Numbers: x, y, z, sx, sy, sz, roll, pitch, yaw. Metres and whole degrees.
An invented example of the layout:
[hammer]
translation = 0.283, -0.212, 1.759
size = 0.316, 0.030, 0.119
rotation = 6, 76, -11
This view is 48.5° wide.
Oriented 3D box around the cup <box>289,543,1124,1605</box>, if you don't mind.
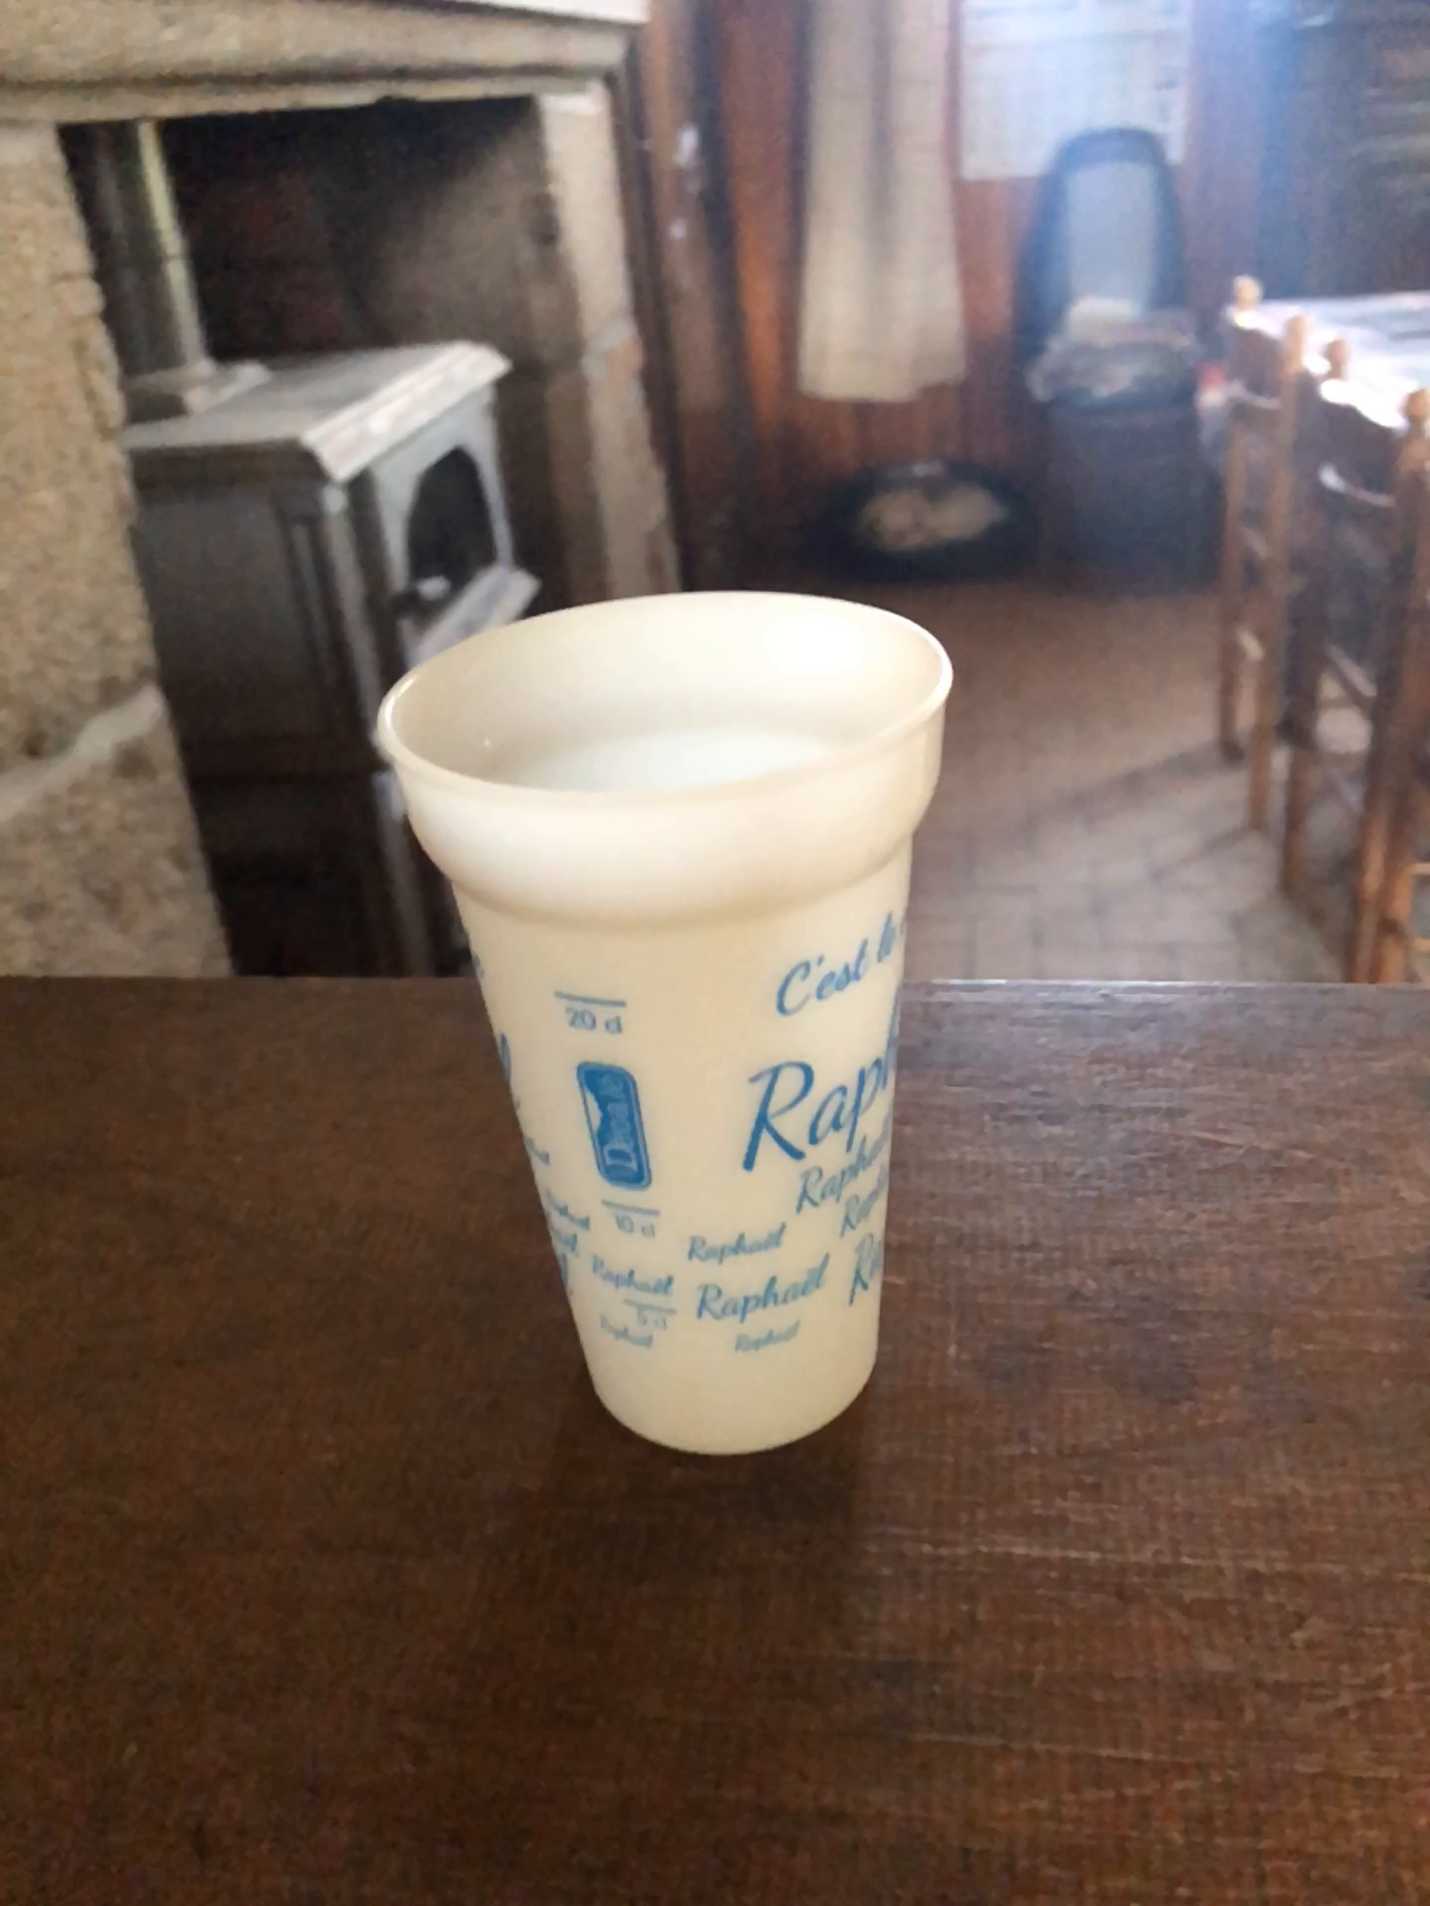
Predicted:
[cup]
translation = 0.004, 0.011, 0.242
size = 0.080, 0.119, 0.080
rotation = -4, 28, 2
